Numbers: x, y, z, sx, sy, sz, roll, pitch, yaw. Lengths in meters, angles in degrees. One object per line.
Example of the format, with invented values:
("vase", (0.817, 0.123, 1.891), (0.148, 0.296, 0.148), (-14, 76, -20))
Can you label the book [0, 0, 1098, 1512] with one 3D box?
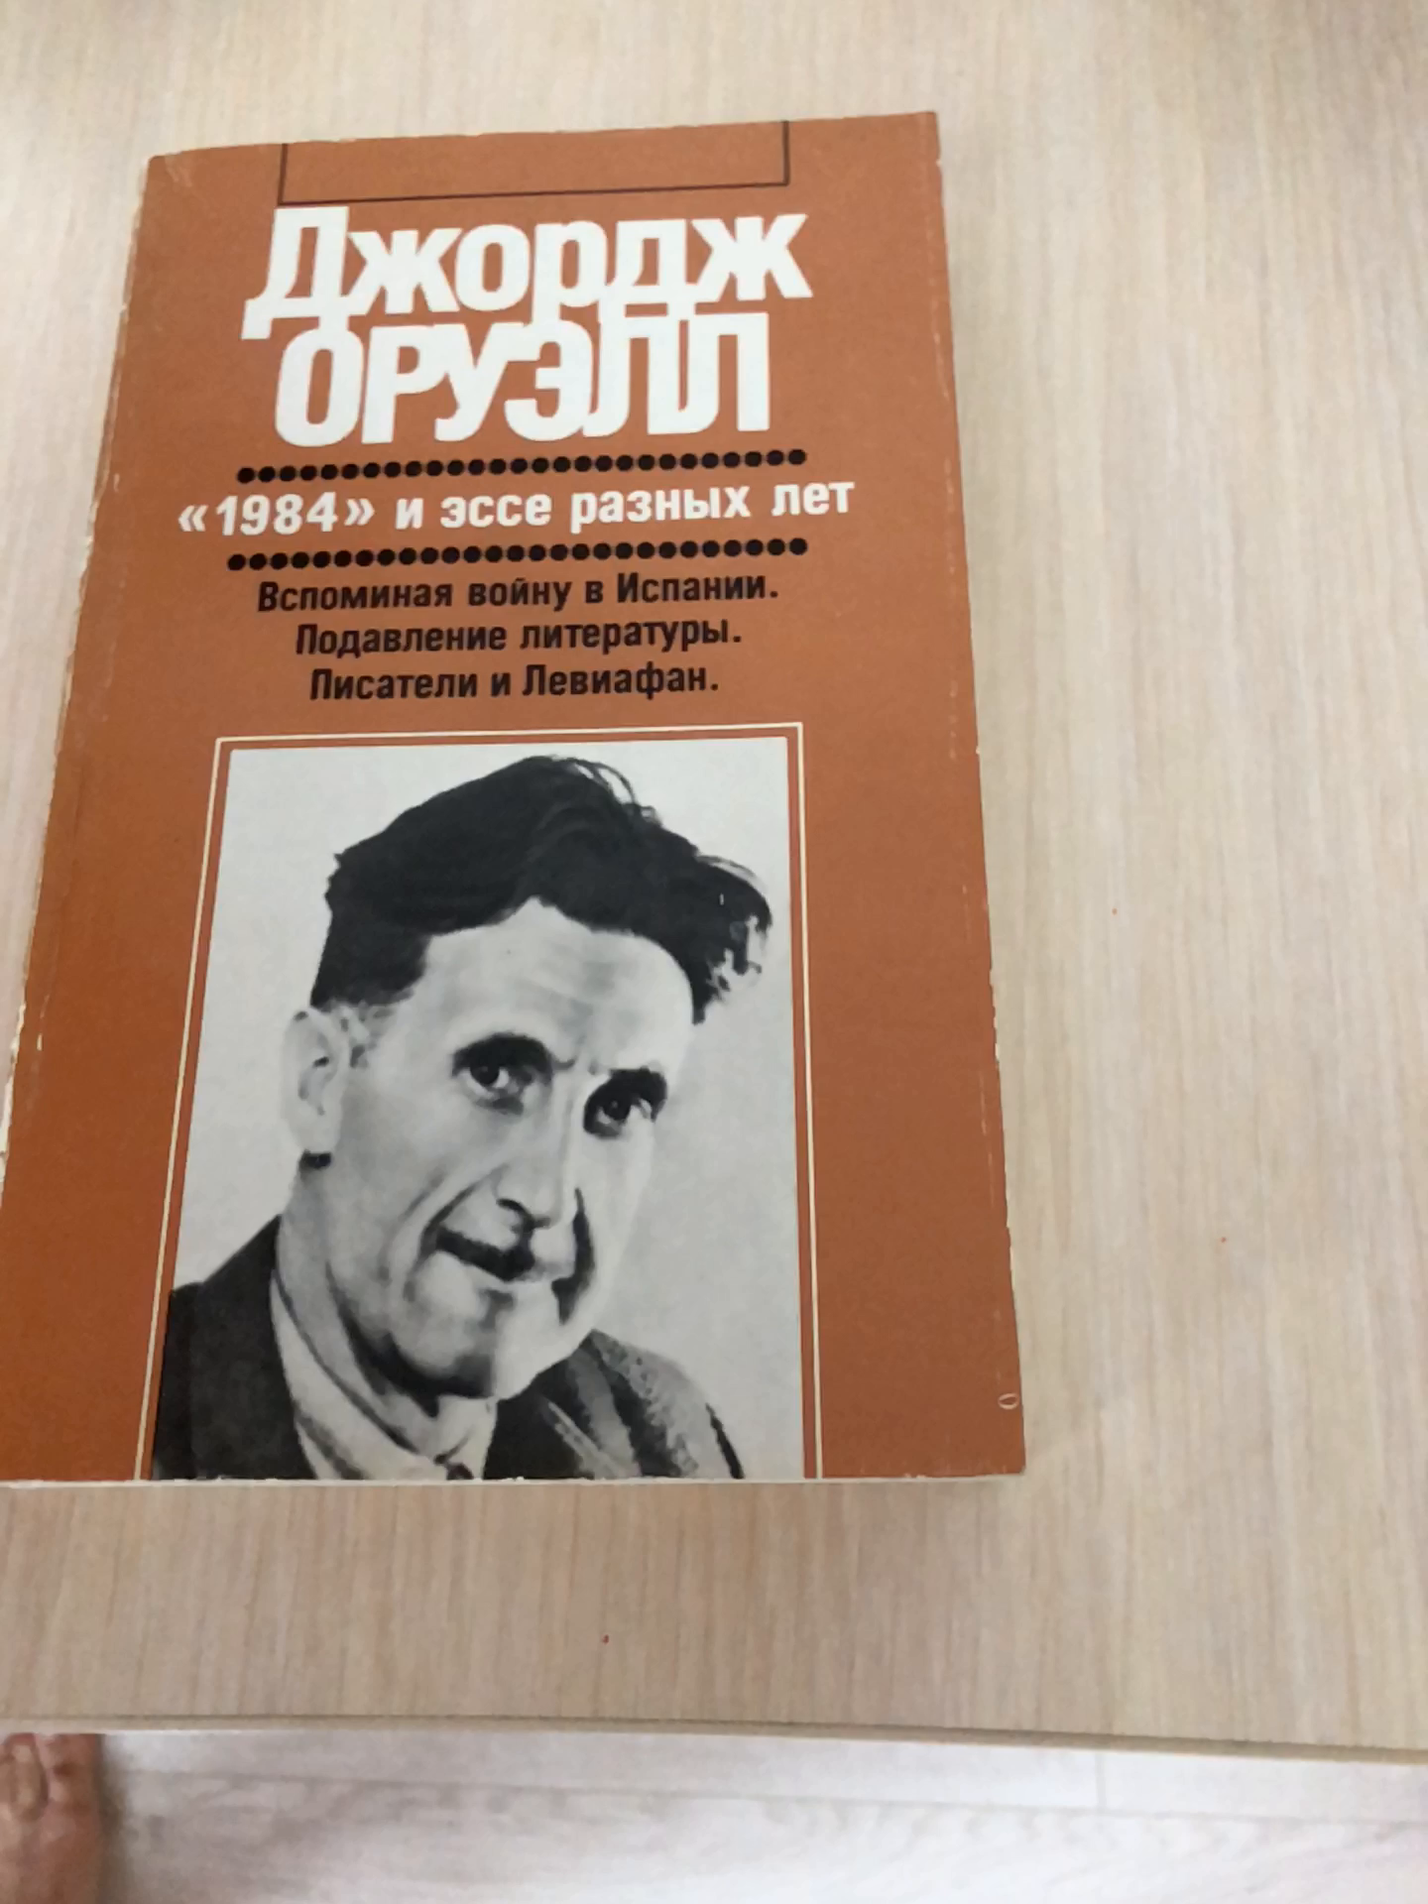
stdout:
("book", (-0.025, -0.034, 0.223), (0.130, 0.040, 0.211), (-2, 70, 3))
